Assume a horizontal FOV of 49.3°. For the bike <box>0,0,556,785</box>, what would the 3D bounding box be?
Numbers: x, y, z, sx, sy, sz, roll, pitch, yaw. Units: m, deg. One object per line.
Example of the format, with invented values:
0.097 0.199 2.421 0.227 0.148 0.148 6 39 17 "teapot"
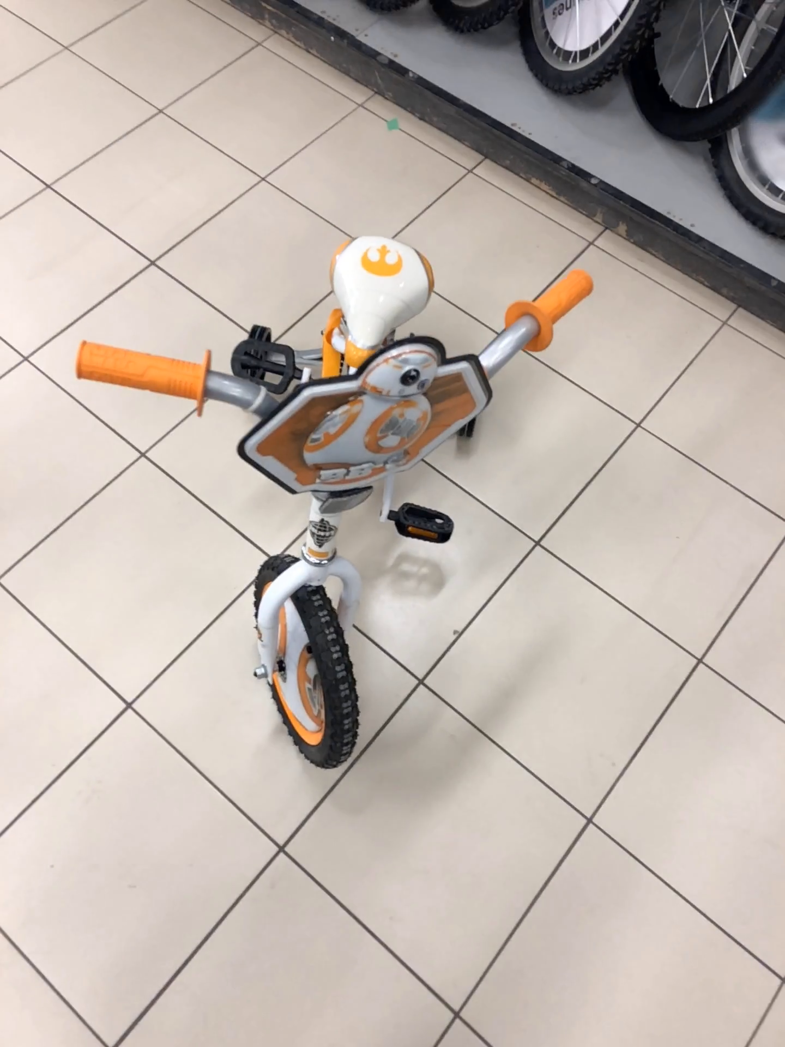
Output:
-0.079 -0.160 1.101 0.435 0.715 0.817 3 64 0 "bike"
